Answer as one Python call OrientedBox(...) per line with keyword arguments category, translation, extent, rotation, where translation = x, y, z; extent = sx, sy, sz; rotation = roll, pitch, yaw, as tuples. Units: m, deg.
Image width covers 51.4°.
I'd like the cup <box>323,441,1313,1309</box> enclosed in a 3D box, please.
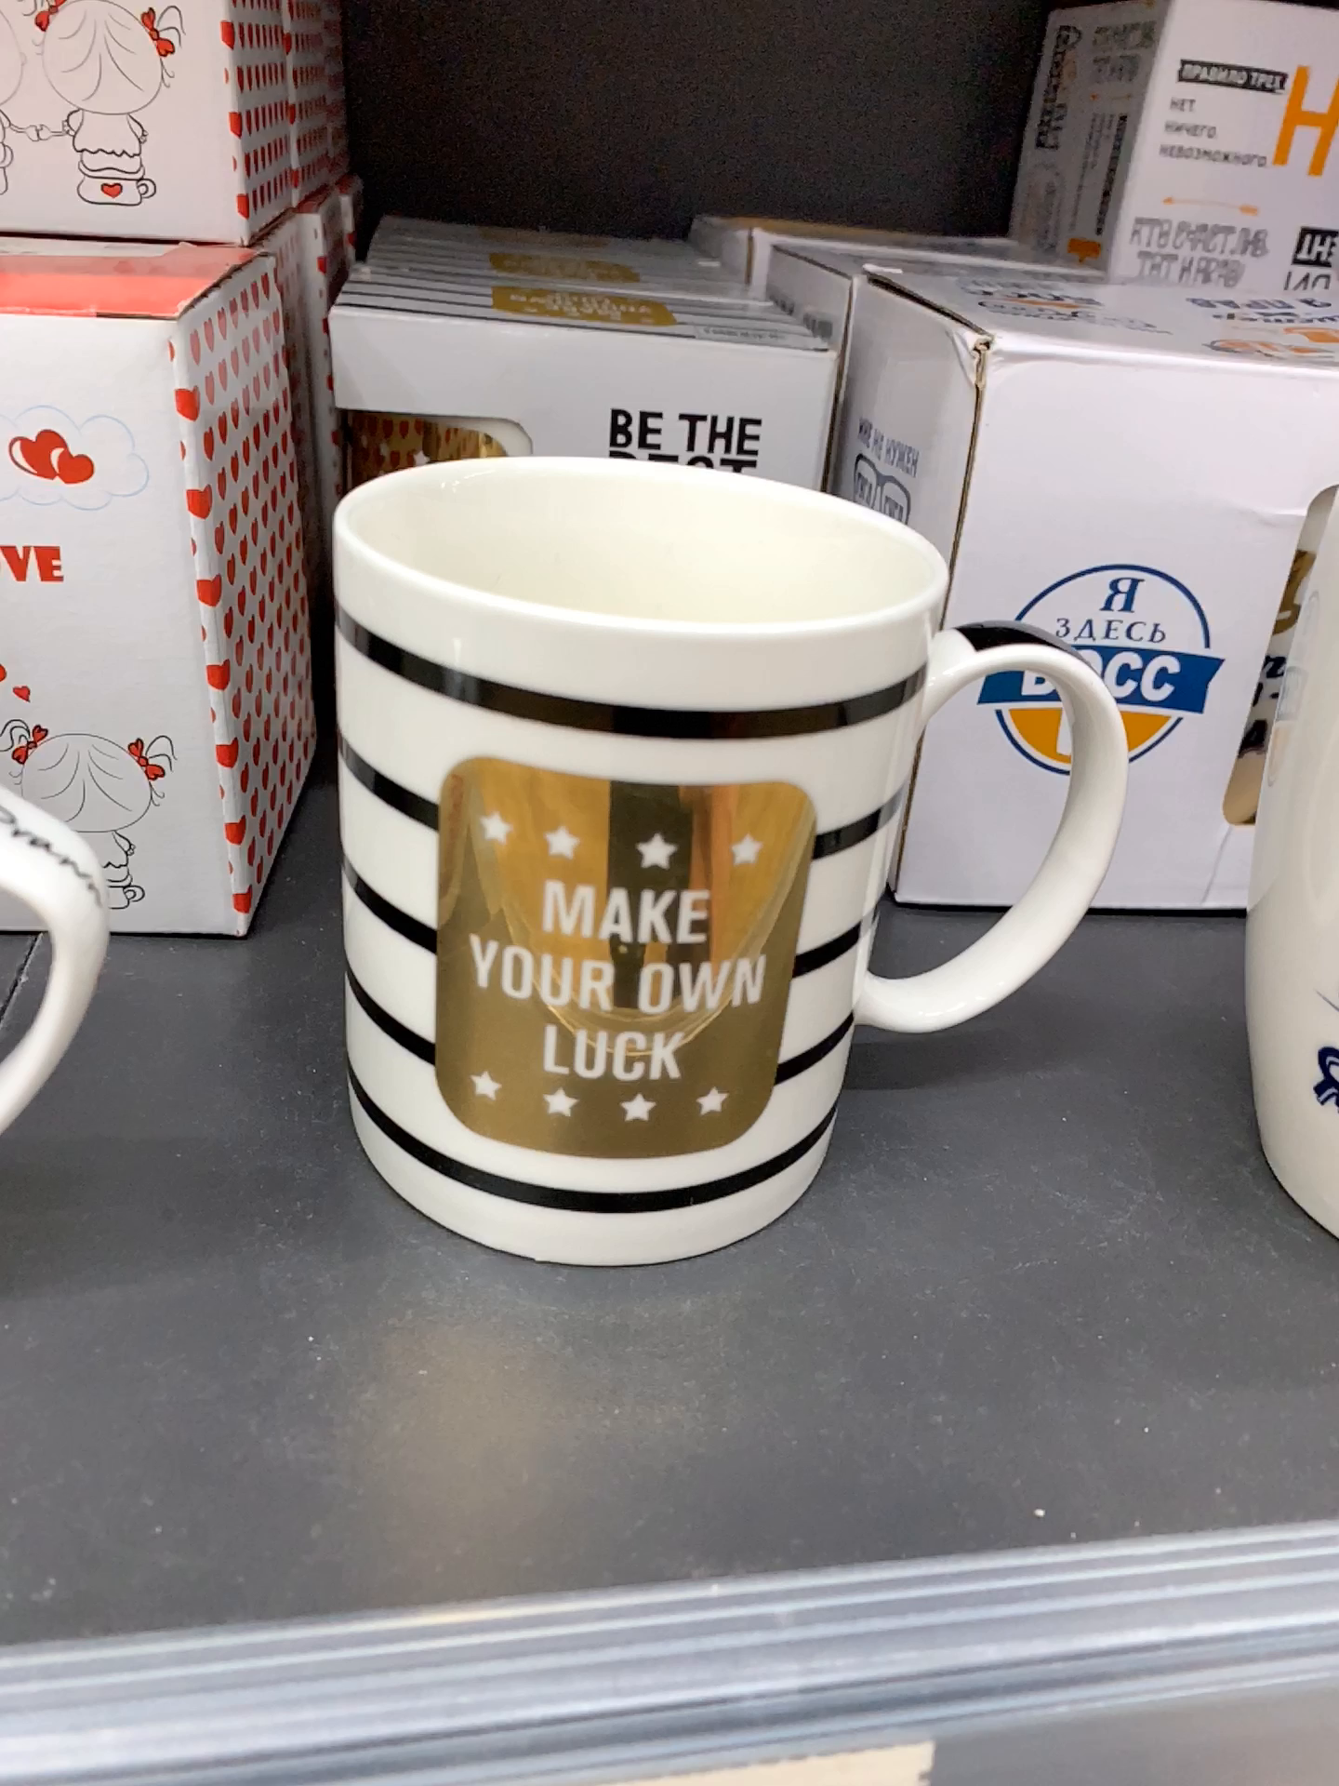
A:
OrientedBox(category="cup", translation=(0.009, -0.007, 0.211), extent=(0.114, 0.096, 0.082), rotation=(-1, 30, -12))
